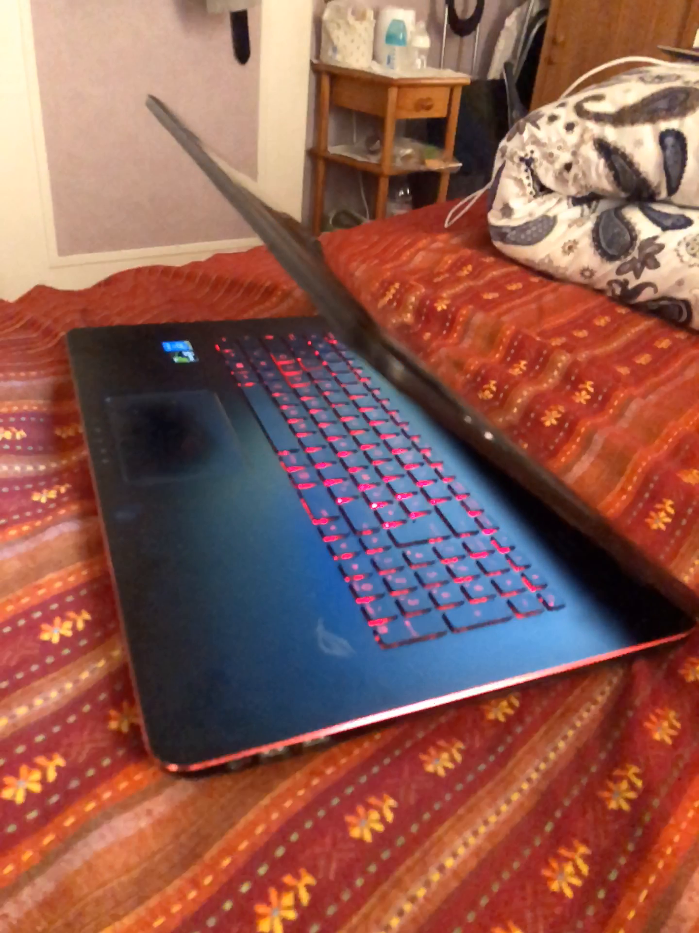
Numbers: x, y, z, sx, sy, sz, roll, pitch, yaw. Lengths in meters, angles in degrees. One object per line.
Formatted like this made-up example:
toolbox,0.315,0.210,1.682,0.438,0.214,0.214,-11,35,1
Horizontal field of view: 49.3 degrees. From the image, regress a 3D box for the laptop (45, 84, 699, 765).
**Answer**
laptop,-0.012,-0.085,0.440,0.268,0.168,0.400,-7,36,-21
